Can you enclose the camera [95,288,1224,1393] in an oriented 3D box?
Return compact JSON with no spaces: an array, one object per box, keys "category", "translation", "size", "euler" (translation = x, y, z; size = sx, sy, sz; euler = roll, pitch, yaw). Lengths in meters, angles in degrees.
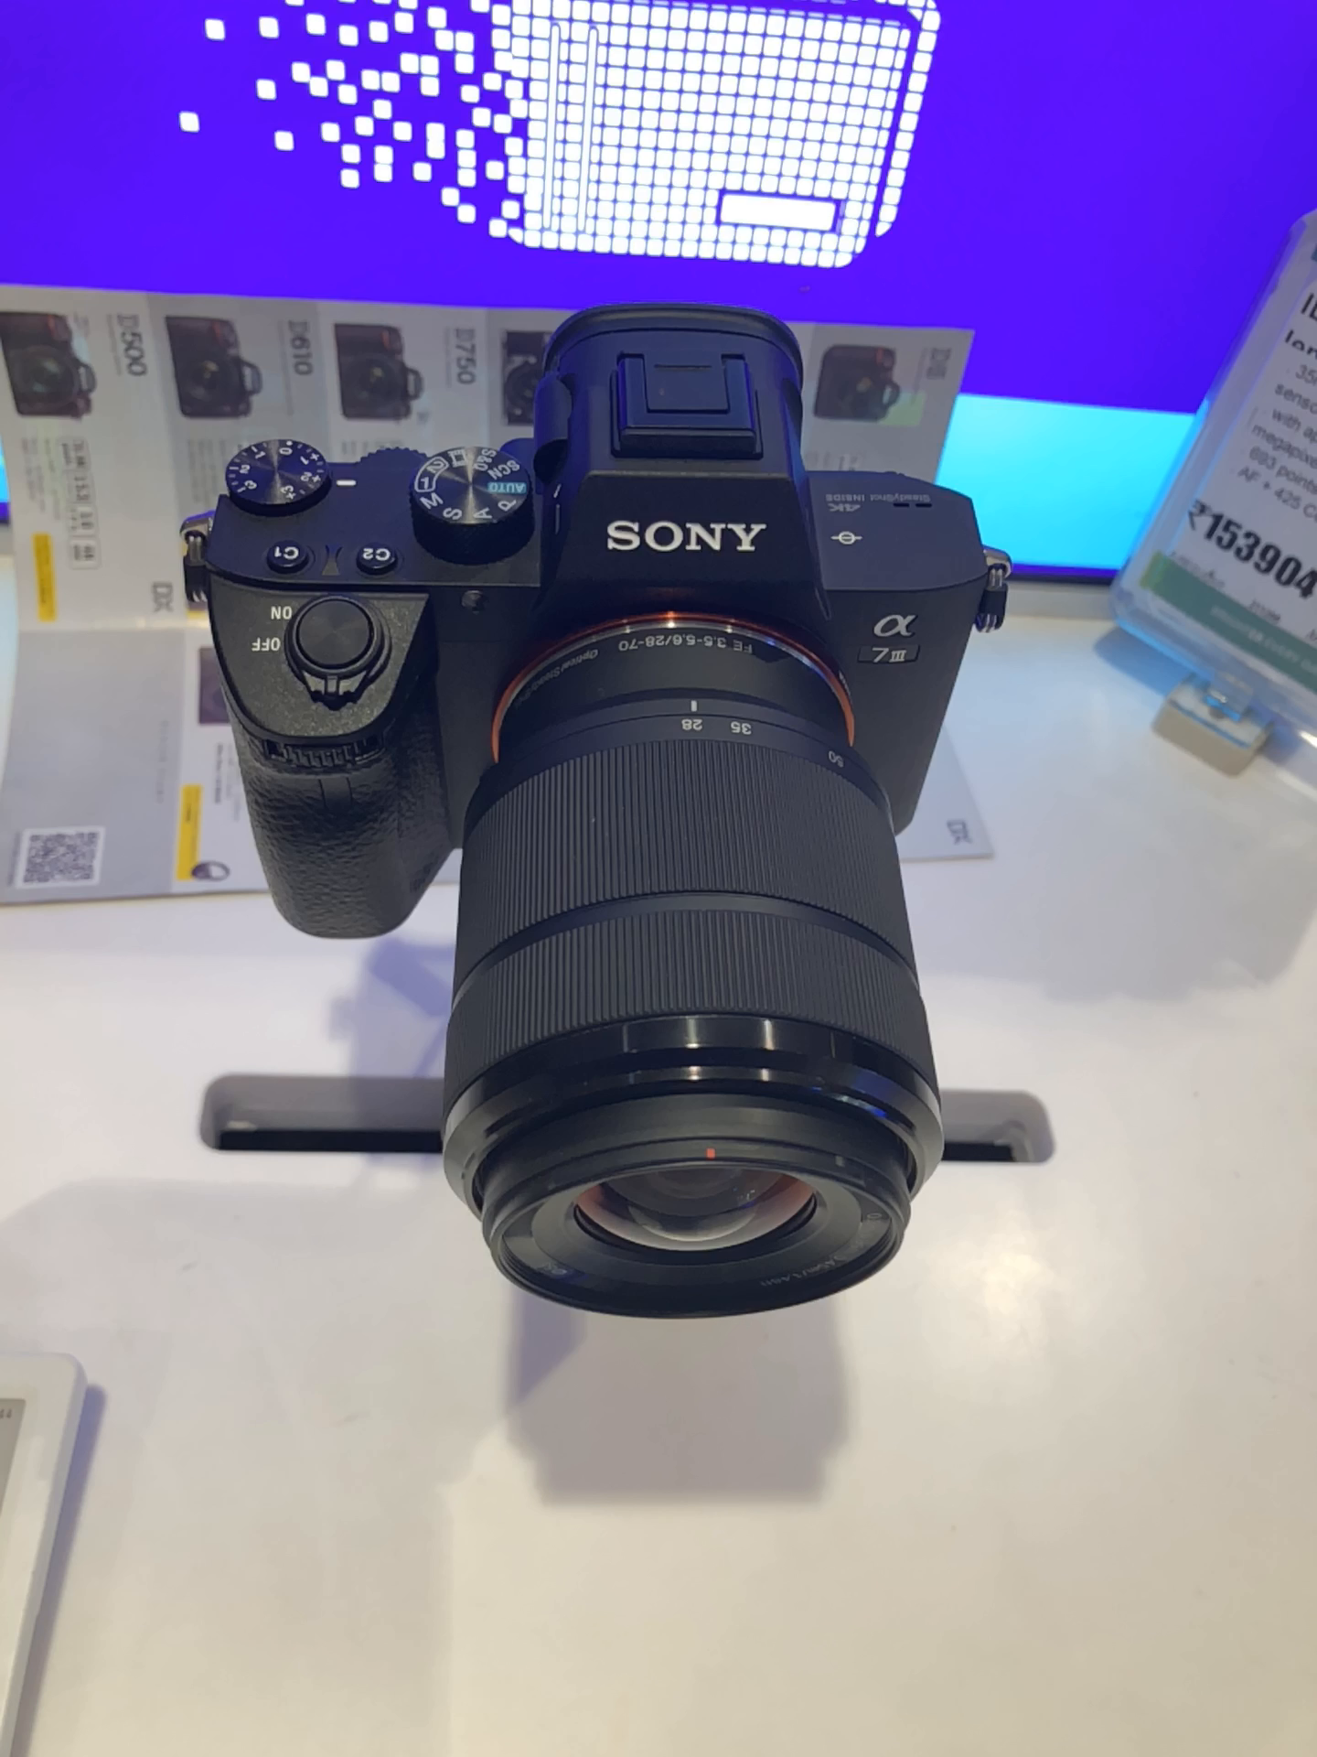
[{"category":"camera","translation":[-0.012,-0.007,0.235],"size":[0.120,0.109,0.128],"euler":[-3,51,-11]}]
